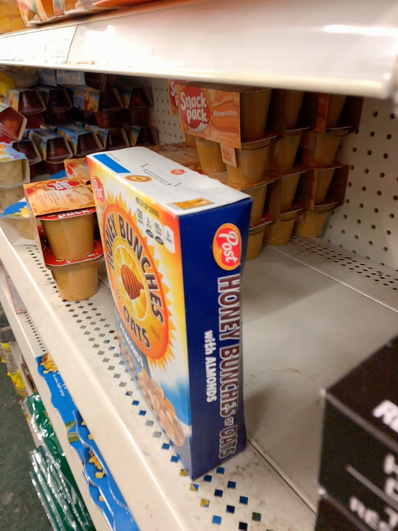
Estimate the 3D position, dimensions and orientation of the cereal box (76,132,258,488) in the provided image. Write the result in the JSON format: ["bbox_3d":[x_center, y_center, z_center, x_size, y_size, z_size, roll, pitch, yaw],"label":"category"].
[{"bbox_3d":[-0.026,0.019,0.283,0.050,0.189,0.151,-15,30,-23],"label":"cereal box"}]
